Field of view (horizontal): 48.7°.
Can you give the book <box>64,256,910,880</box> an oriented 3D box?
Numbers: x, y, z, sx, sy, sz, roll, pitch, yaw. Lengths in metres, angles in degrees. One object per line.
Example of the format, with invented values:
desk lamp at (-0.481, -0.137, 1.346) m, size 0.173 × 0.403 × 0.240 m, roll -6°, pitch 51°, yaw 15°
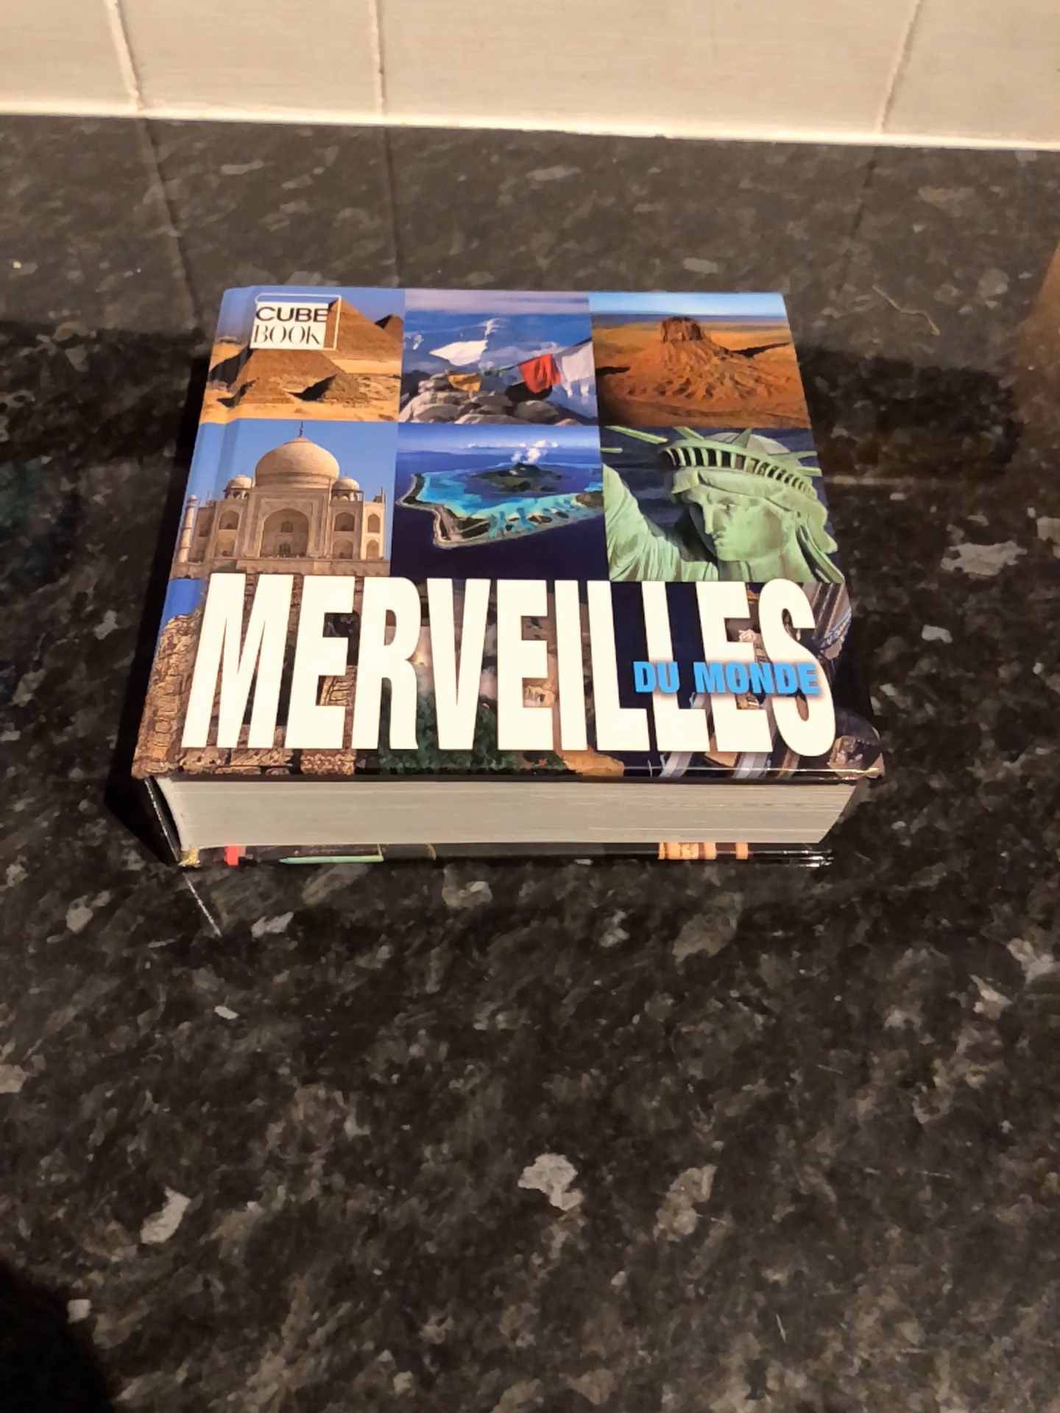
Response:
book at (-0.010, -0.042, 0.306) m, size 0.170 × 0.060 × 0.161 m, roll -1°, pitch 56°, yaw -2°
